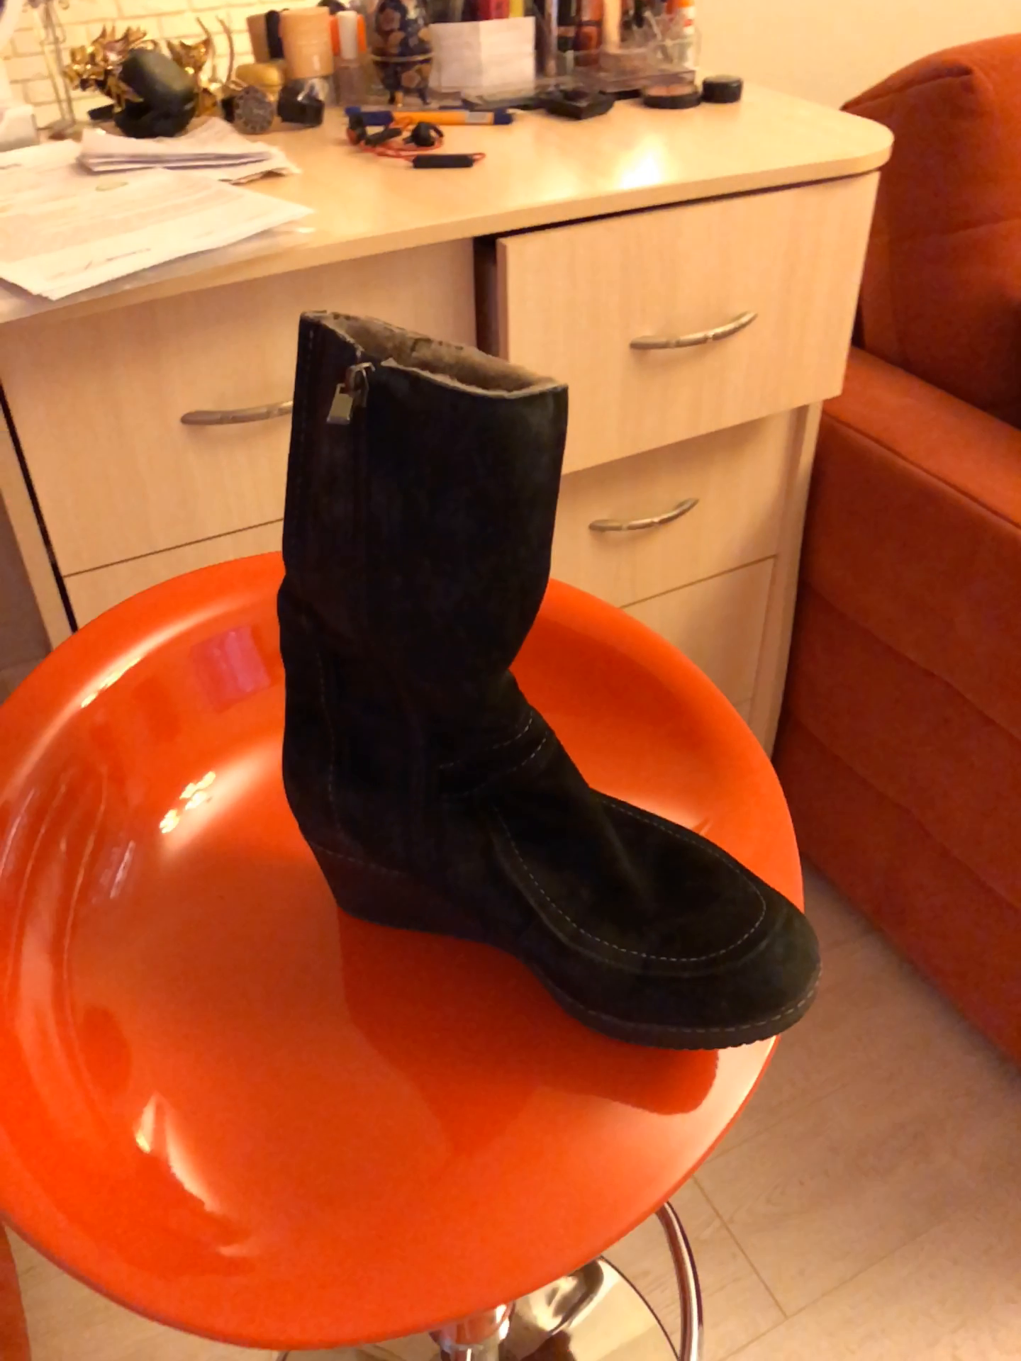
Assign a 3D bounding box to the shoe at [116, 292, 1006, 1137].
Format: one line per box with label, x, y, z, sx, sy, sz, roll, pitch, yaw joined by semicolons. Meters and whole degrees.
shoe;0.013;0.010;0.427;0.260;0.248;0.101;17;42;22
